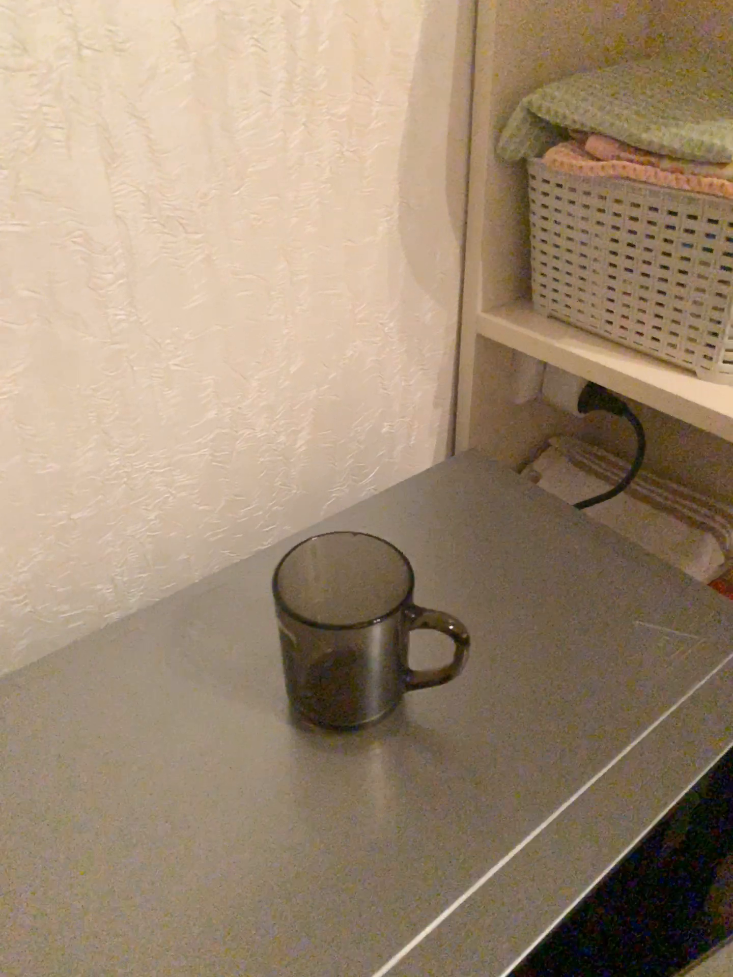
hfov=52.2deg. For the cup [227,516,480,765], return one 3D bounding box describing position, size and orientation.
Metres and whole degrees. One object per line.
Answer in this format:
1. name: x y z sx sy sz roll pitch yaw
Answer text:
1. cup: -0.002 0.077 0.394 0.110 0.079 0.081 7 36 11
